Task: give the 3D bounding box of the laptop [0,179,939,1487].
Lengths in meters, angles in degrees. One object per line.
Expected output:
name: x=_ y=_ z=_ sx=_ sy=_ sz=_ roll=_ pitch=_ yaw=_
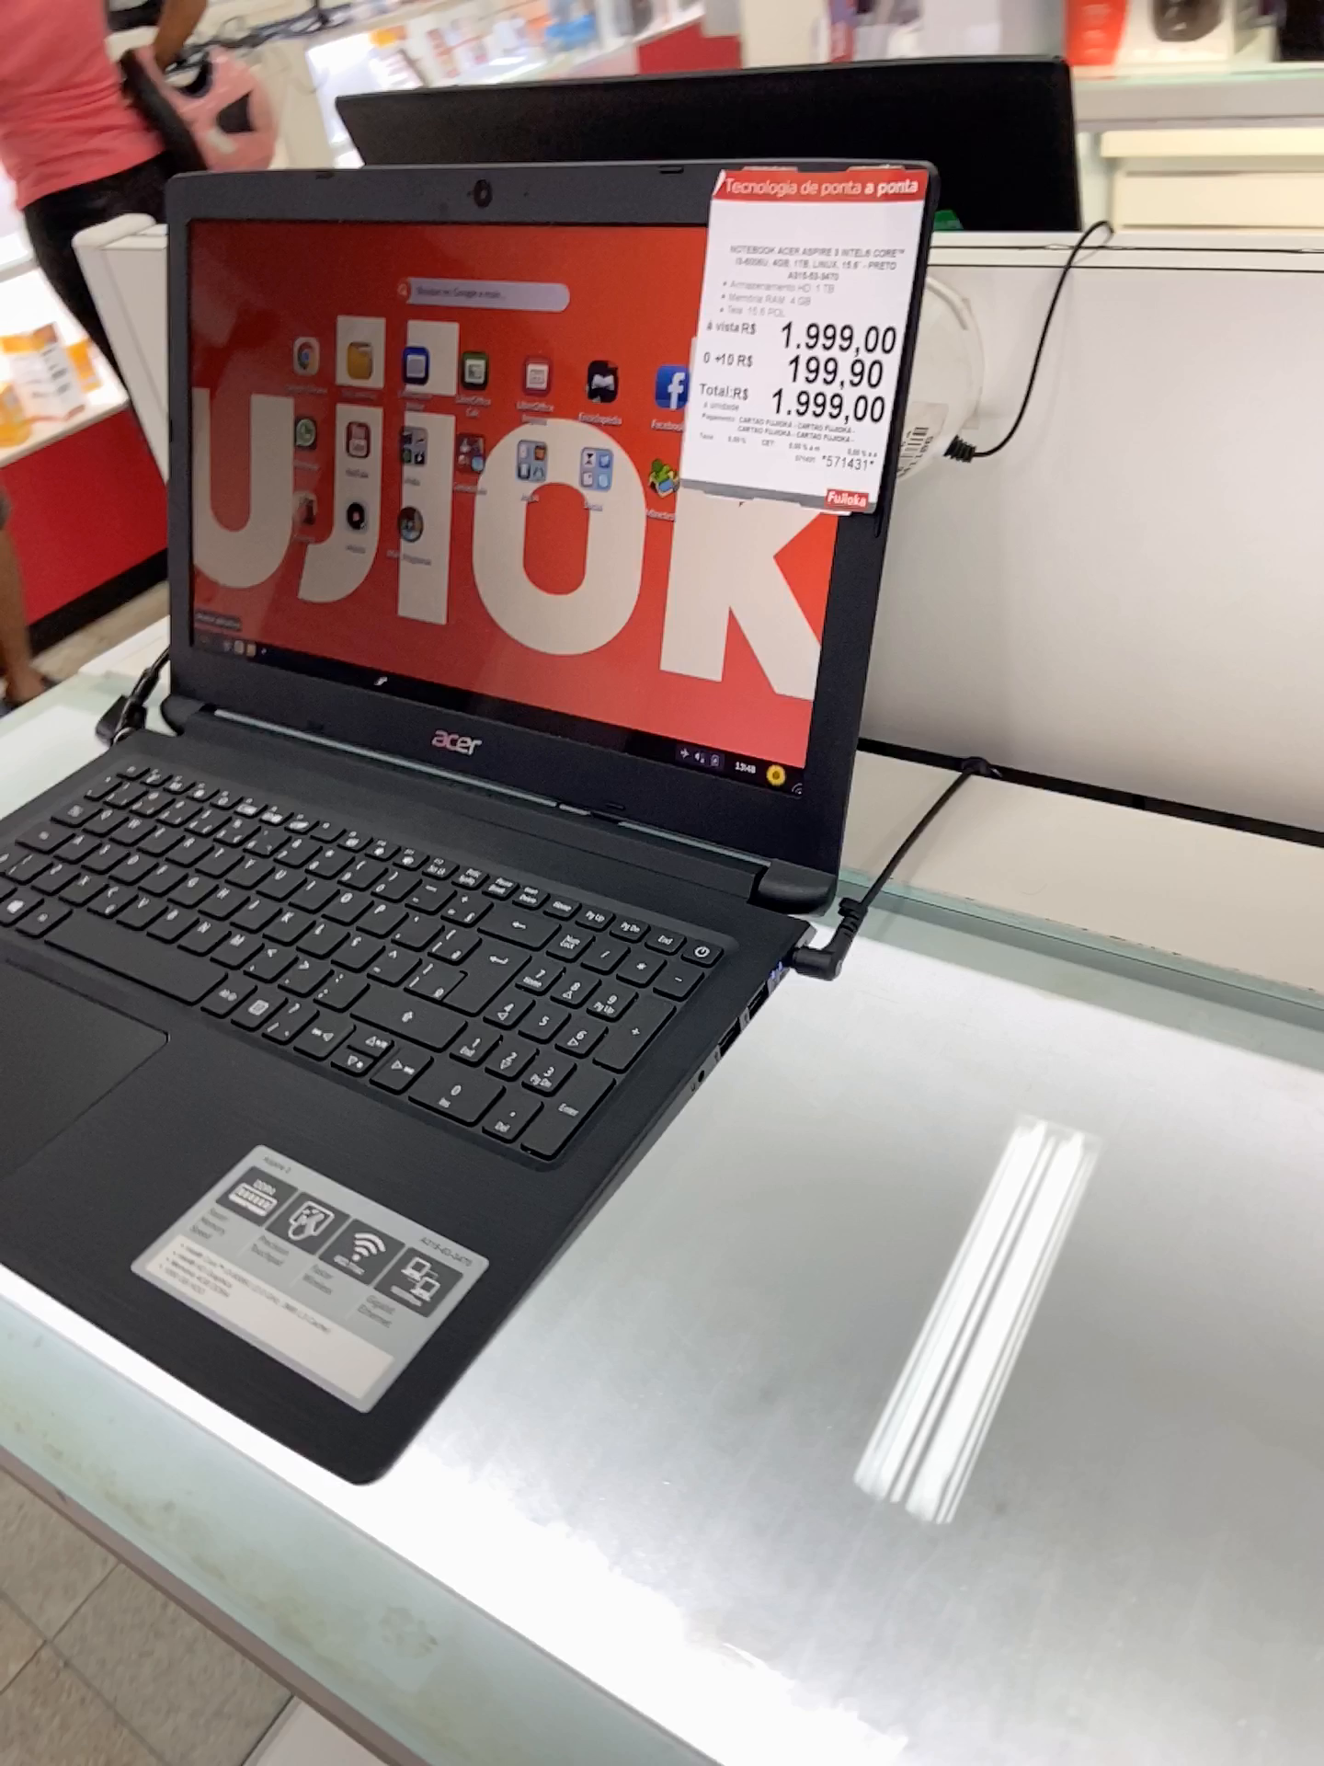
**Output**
laptop: x=-0.159 y=-0.085 z=0.500 sx=0.392 sy=0.230 sz=0.371 roll=16 pitch=44 yaw=30
